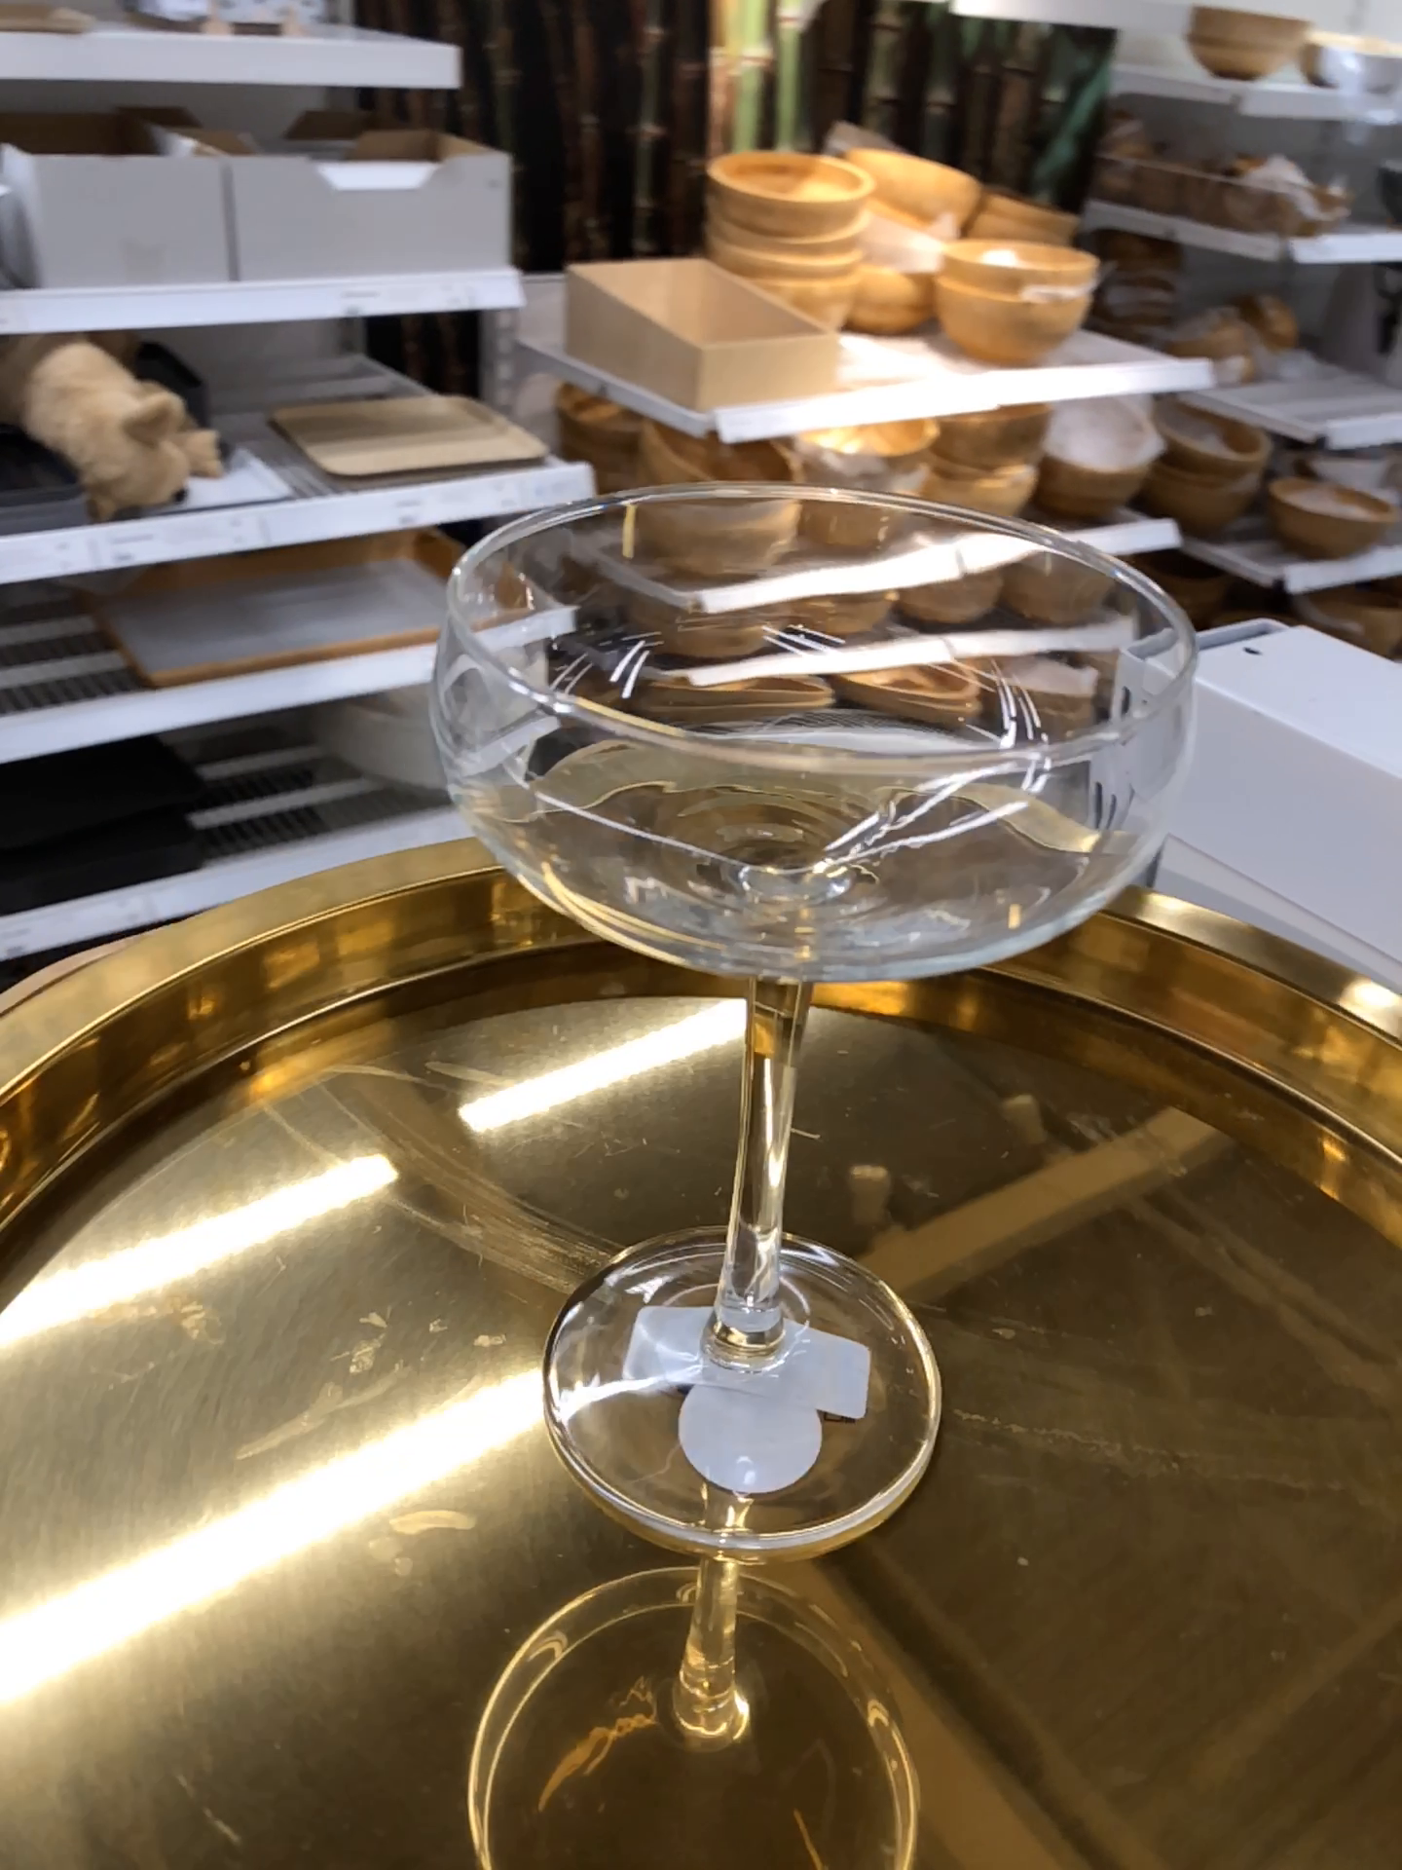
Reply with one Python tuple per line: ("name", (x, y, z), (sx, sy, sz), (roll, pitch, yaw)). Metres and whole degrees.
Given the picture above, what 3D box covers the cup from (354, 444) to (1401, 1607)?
("cup", (0.014, 0.011, 0.245), (0.110, 0.139, 0.110), (3, 31, -2))
